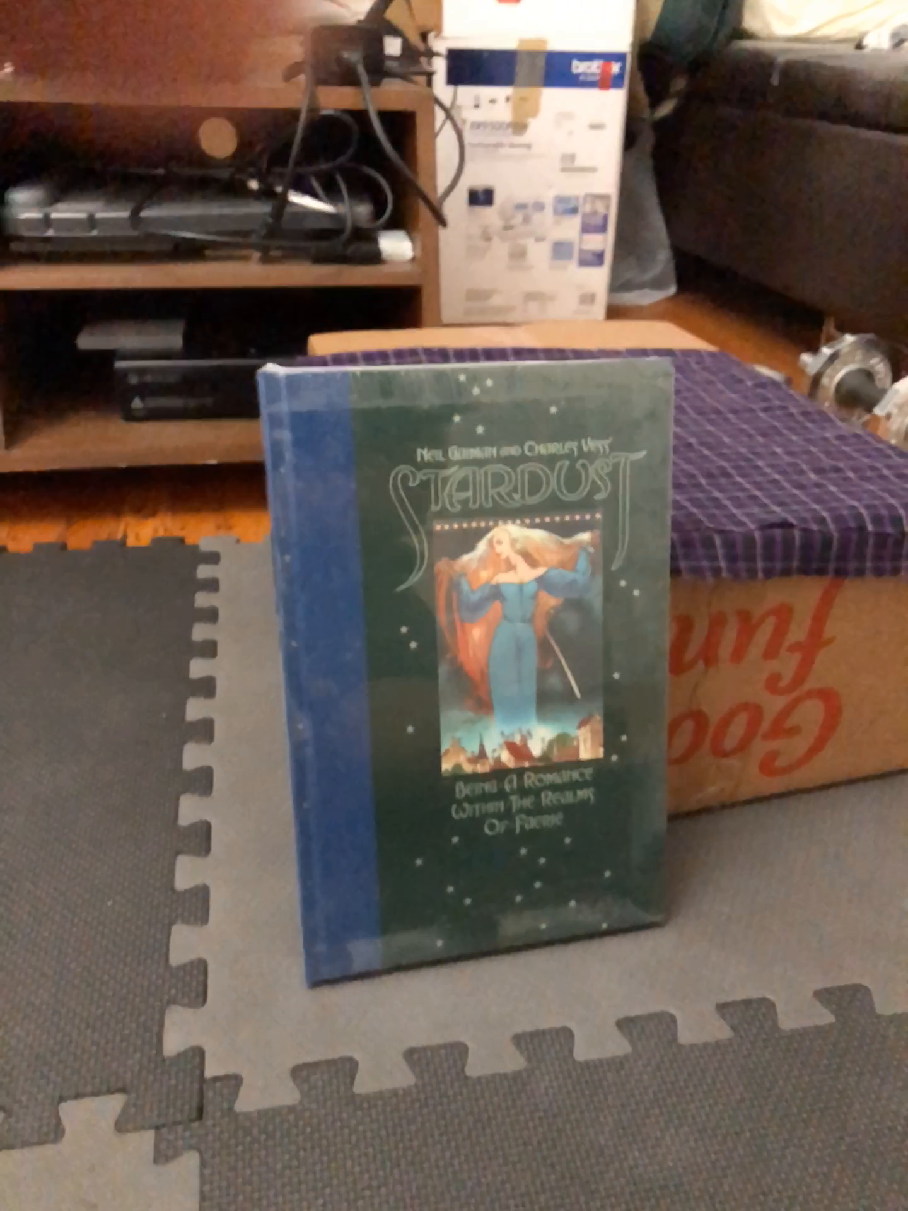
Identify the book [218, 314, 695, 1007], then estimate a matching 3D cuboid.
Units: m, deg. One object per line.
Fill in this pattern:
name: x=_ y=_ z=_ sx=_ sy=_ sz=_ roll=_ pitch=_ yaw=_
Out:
book: x=0.008 y=0.026 z=0.515 sx=0.220 sy=0.329 sz=0.050 roll=-6 pitch=15 yaw=-13
